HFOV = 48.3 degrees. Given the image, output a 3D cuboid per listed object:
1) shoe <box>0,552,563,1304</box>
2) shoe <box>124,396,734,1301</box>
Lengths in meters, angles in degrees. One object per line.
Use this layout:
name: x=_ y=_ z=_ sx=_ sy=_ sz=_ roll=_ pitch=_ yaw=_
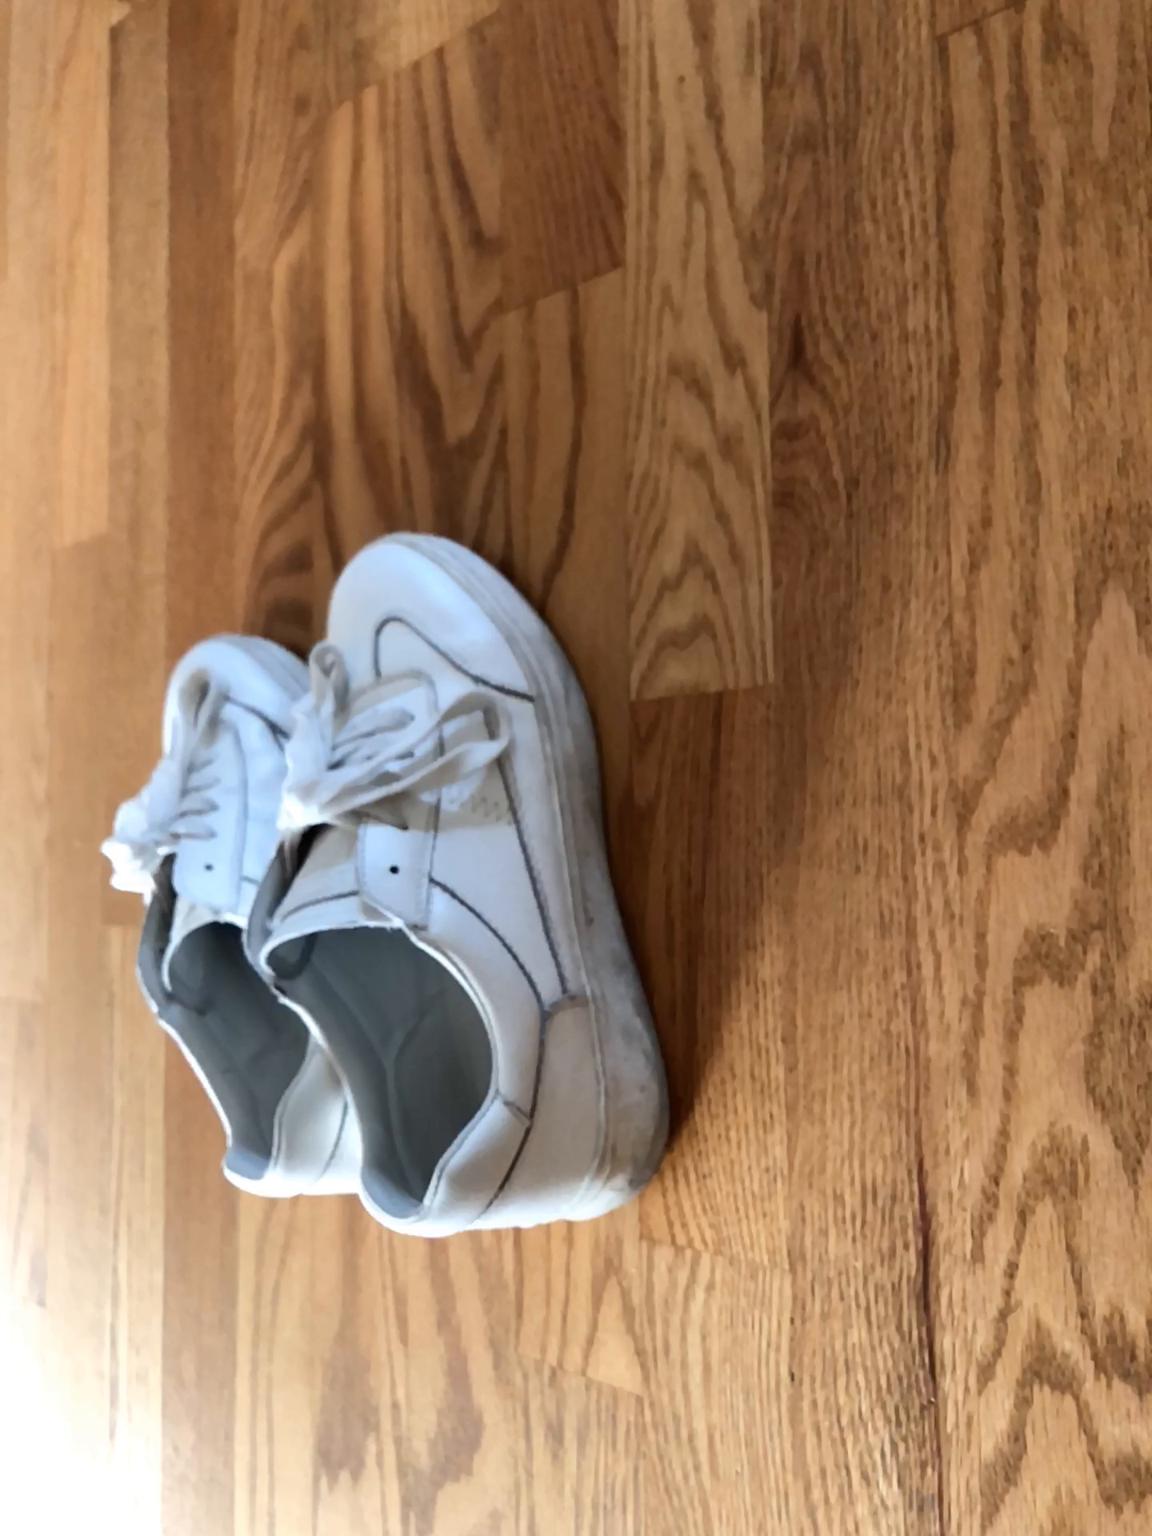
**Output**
shoe: x=-0.131 y=0.050 z=0.503 sx=0.103 sy=0.104 sz=0.260 roll=-48 pitch=59 yaw=28
shoe: x=-0.057 y=0.024 z=0.437 sx=0.103 sy=0.106 sz=0.260 roll=-30 pitch=69 yaw=36
